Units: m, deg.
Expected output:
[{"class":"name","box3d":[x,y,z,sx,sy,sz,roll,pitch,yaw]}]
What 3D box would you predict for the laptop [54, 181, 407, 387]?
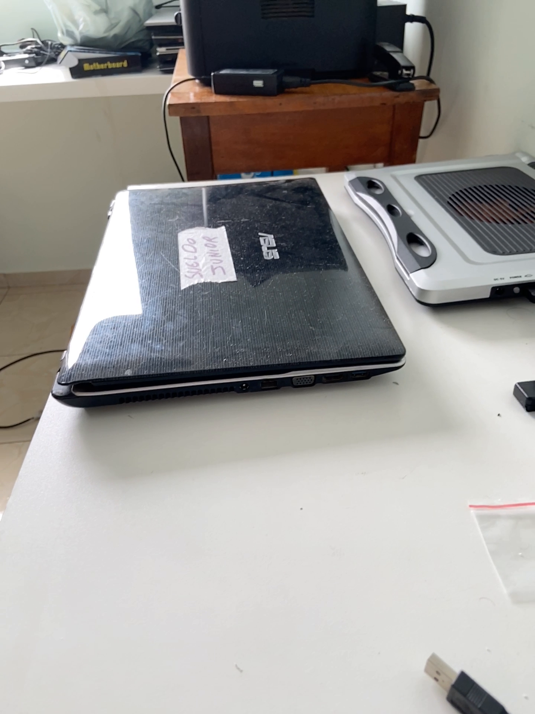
[{"class":"laptop","box3d":[-0.043,-0.097,0.517,0.236,0.001,0.365,-6,36,-4]}]
